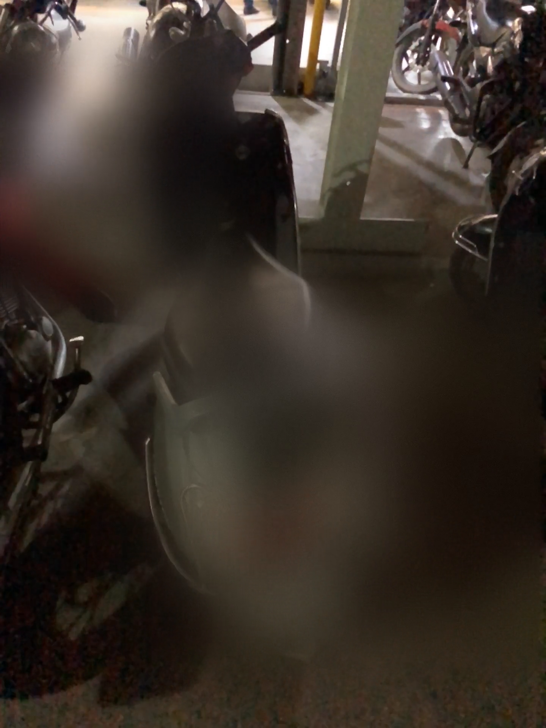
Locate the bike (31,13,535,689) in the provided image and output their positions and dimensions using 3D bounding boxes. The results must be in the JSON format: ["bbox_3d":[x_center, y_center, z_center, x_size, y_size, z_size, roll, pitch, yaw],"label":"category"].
[{"bbox_3d":[-0.114,-0.139,1.571,0.602,1.094,1.388,-2,41,-10],"label":"bike"}]
